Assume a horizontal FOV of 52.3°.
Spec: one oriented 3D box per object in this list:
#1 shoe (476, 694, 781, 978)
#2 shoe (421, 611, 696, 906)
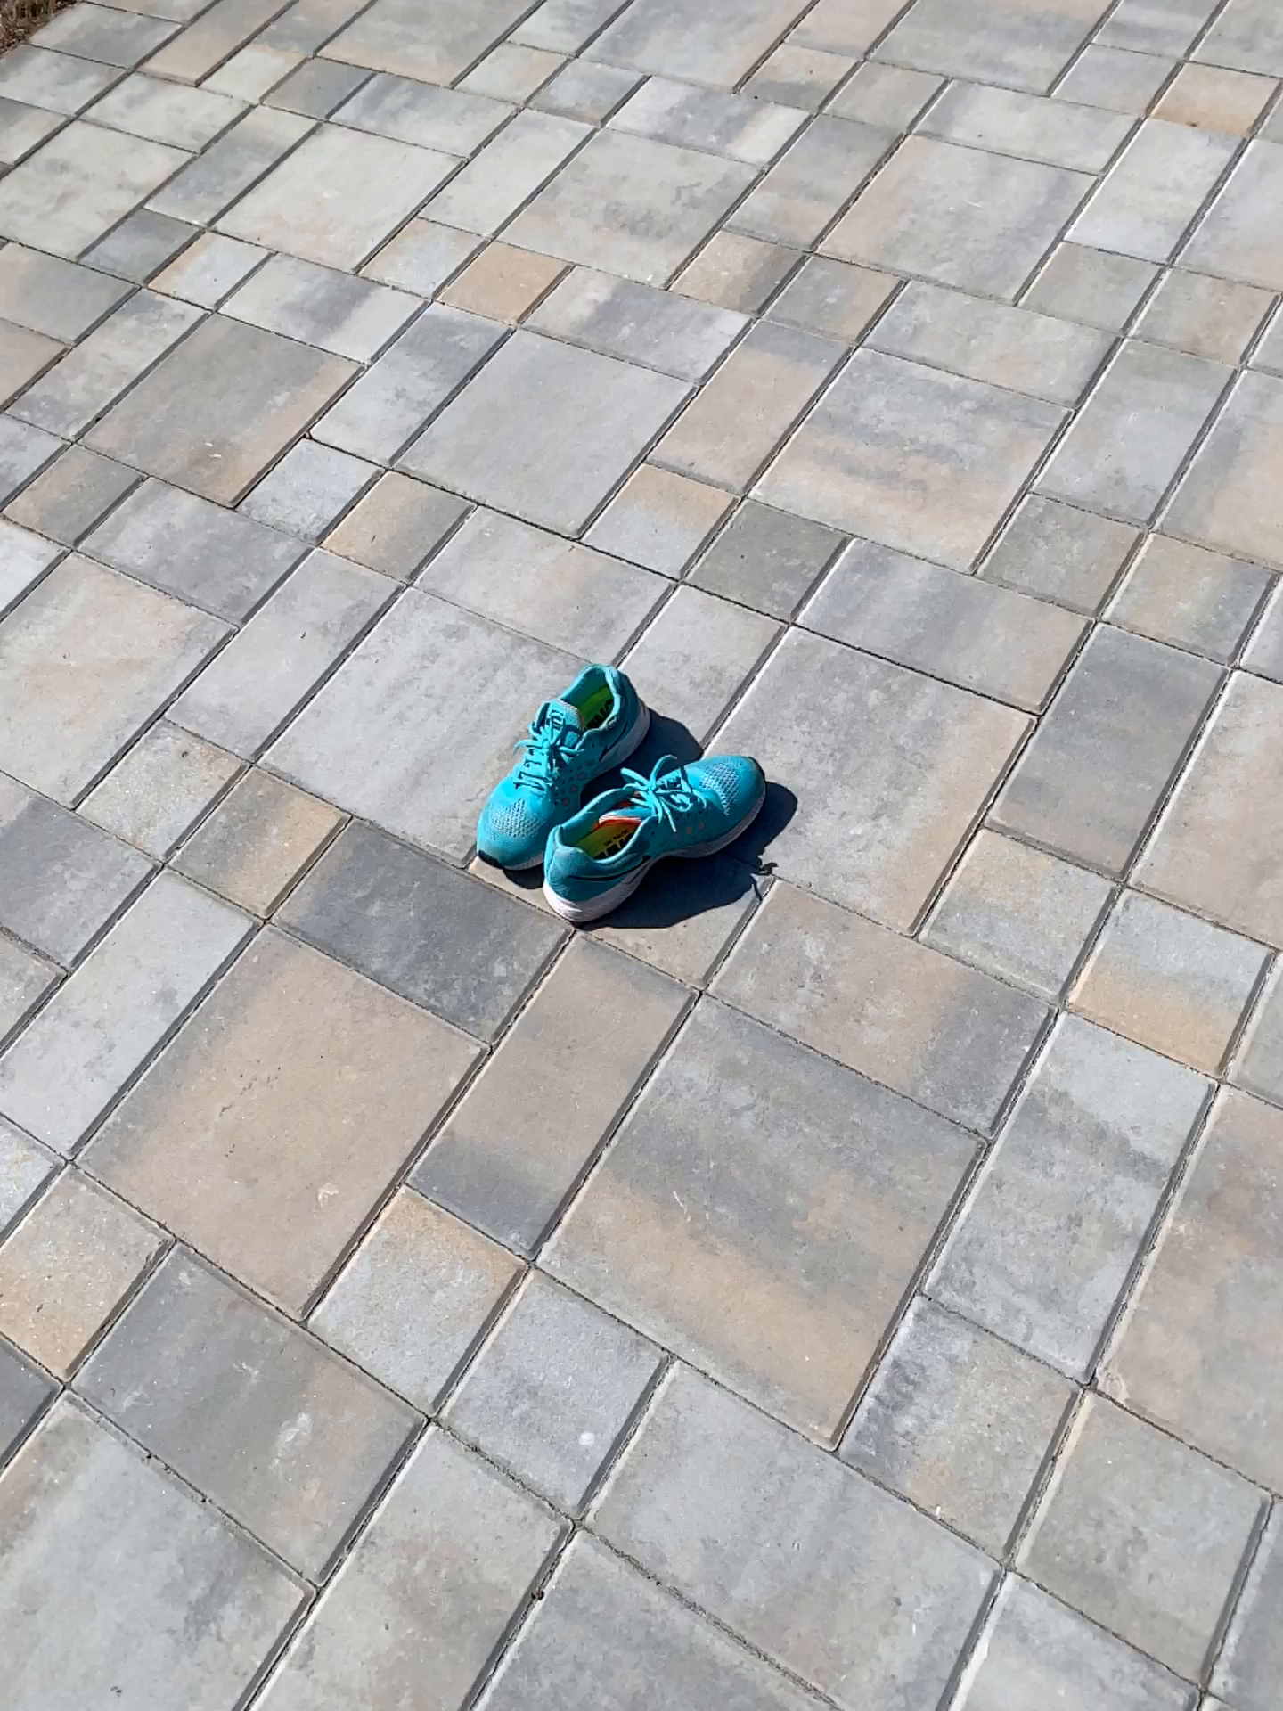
[{"bbox_3d":[-0.010,-0.020,1.332,0.270,0.100,0.130,-36,61,-7],"label":"shoe"},{"bbox_3d":[-0.079,-0.103,1.344,0.130,0.100,0.270,30,68,23],"label":"shoe"}]
